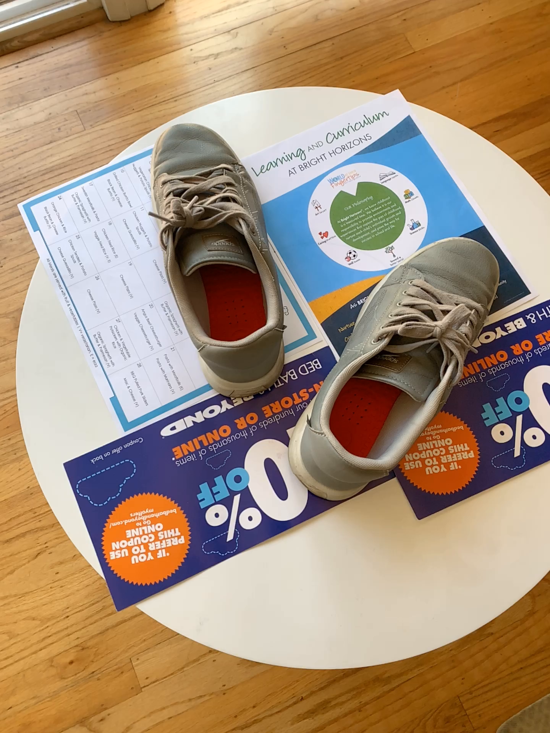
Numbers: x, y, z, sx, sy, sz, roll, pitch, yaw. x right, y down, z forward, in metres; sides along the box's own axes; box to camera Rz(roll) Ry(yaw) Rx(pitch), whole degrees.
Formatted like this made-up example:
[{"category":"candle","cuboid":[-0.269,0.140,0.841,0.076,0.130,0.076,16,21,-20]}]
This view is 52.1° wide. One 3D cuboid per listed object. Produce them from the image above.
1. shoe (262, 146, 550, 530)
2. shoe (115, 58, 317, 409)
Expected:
[{"category":"shoe","cuboid":[0.115,-0.018,0.448,0.100,0.110,0.280,36,77,9]},{"category":"shoe","cuboid":[-0.053,-0.113,0.493,0.100,0.100,0.270,-14,75,-4]}]
